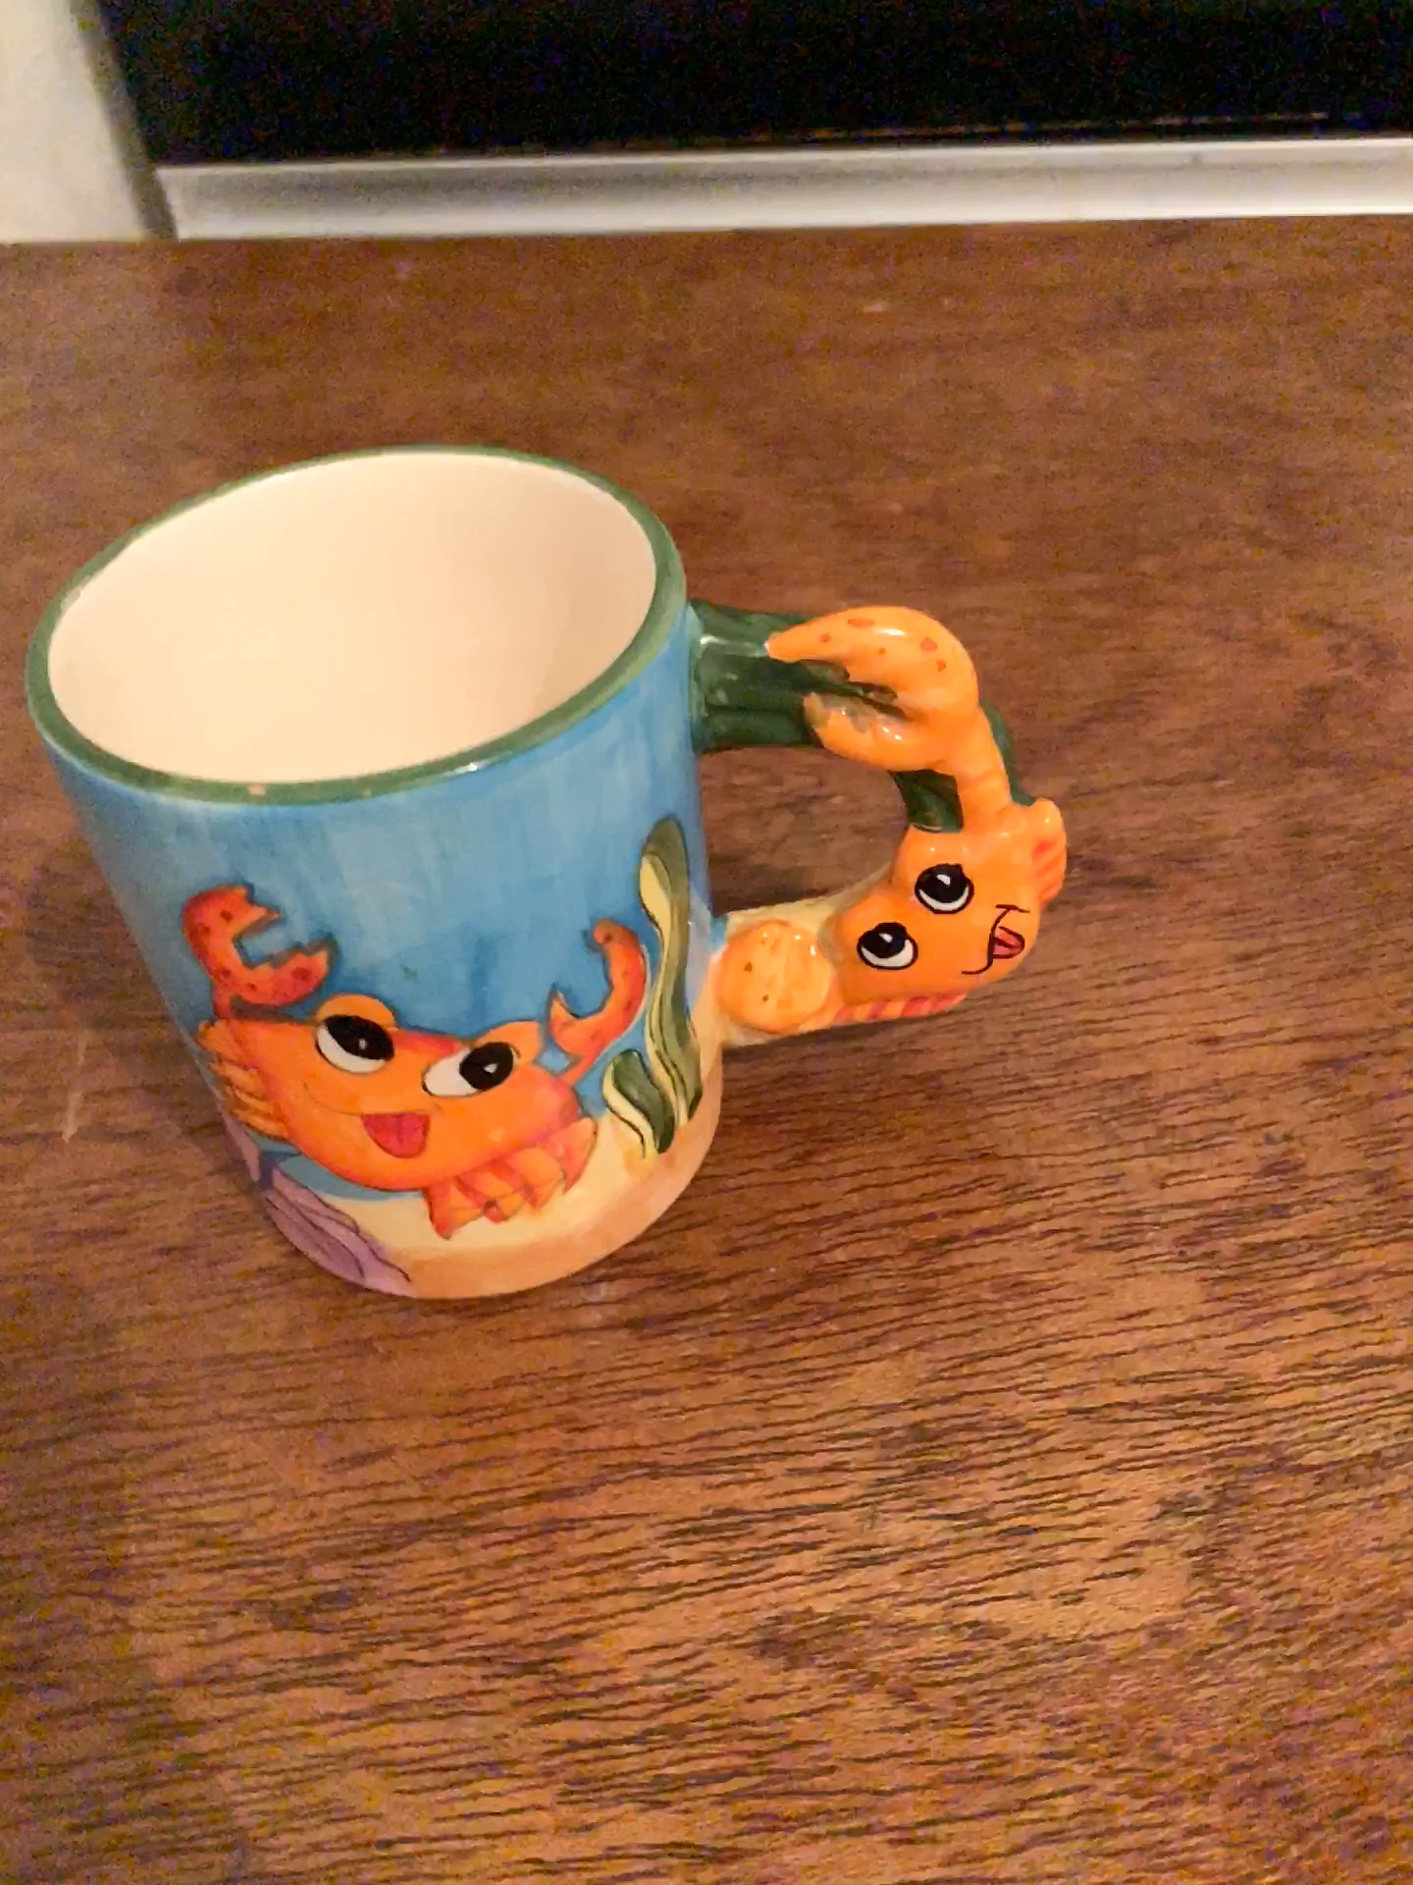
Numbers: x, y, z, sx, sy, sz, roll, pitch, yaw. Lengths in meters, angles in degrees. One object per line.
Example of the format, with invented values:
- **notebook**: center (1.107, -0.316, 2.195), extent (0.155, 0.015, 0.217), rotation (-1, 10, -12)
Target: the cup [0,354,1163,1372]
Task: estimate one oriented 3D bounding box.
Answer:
- **cup**: center (-0.020, -0.010, 0.209), extent (0.130, 0.099, 0.080), rotation (-8, 44, -3)
